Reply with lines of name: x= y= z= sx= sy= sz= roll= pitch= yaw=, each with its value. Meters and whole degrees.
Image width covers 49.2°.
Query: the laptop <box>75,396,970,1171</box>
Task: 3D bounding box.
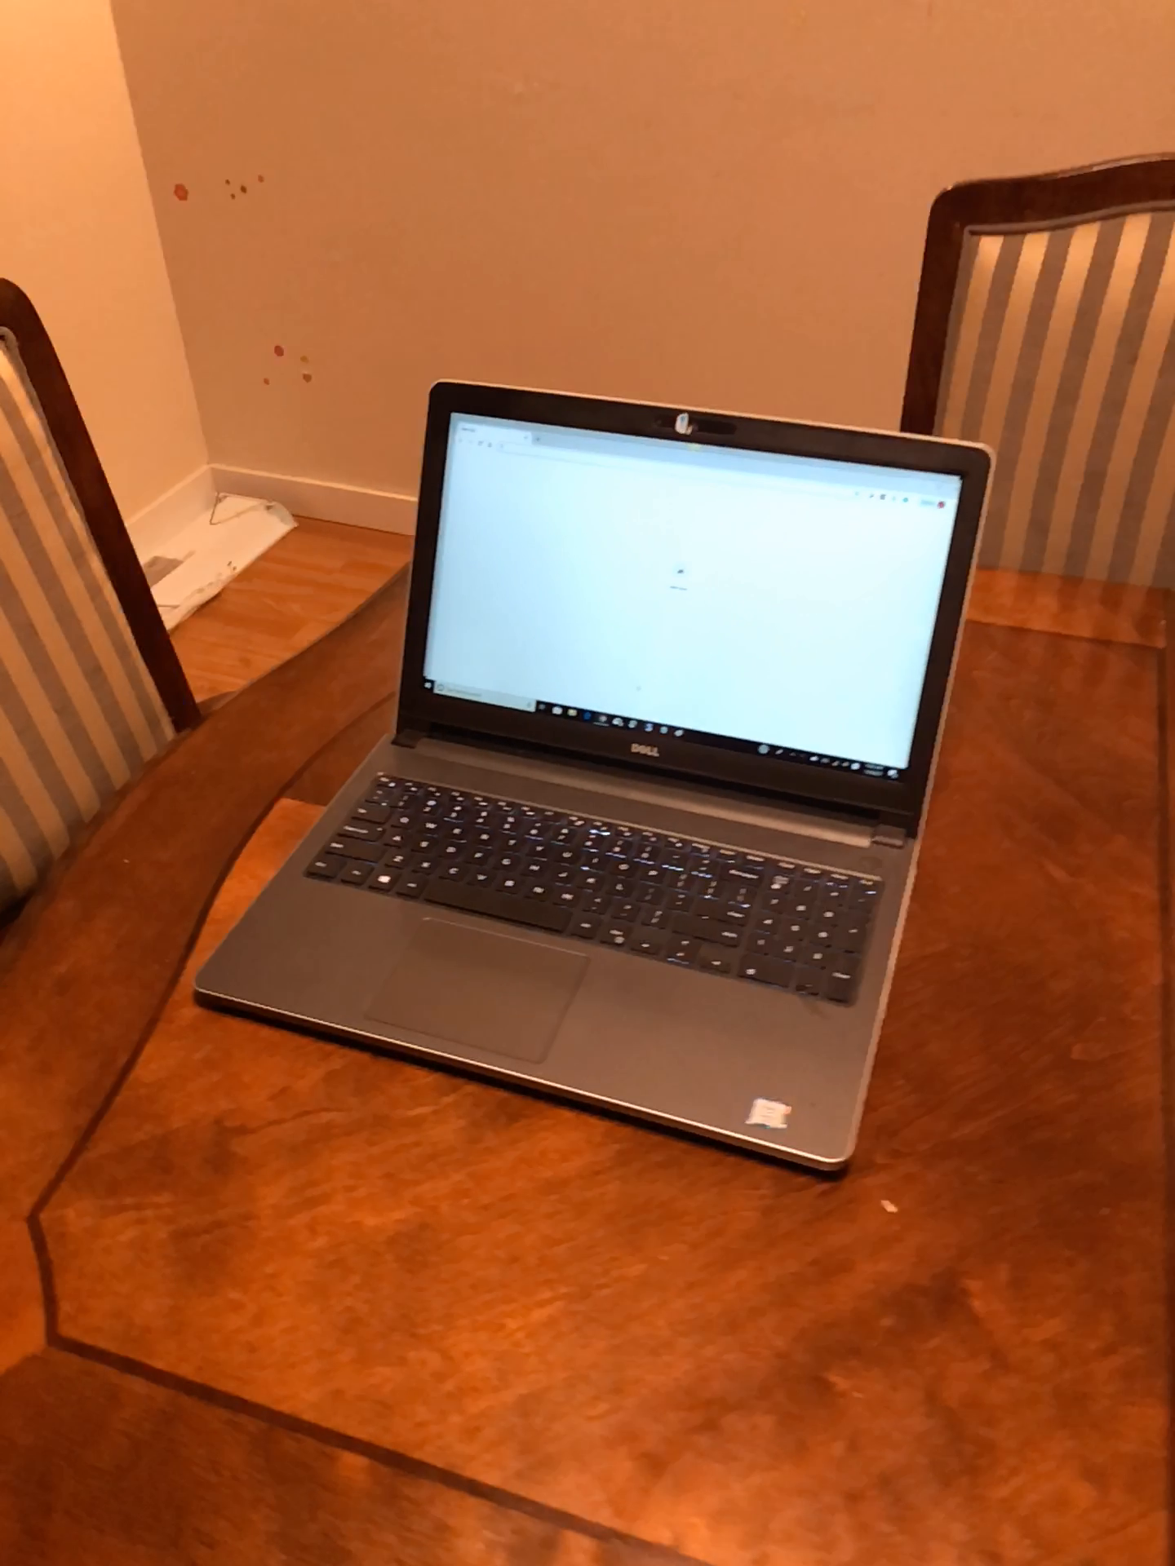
laptop: x=-0.004 y=-0.036 z=0.748 sx=0.369 sy=0.212 sz=0.361 roll=12 pitch=40 yaw=16
